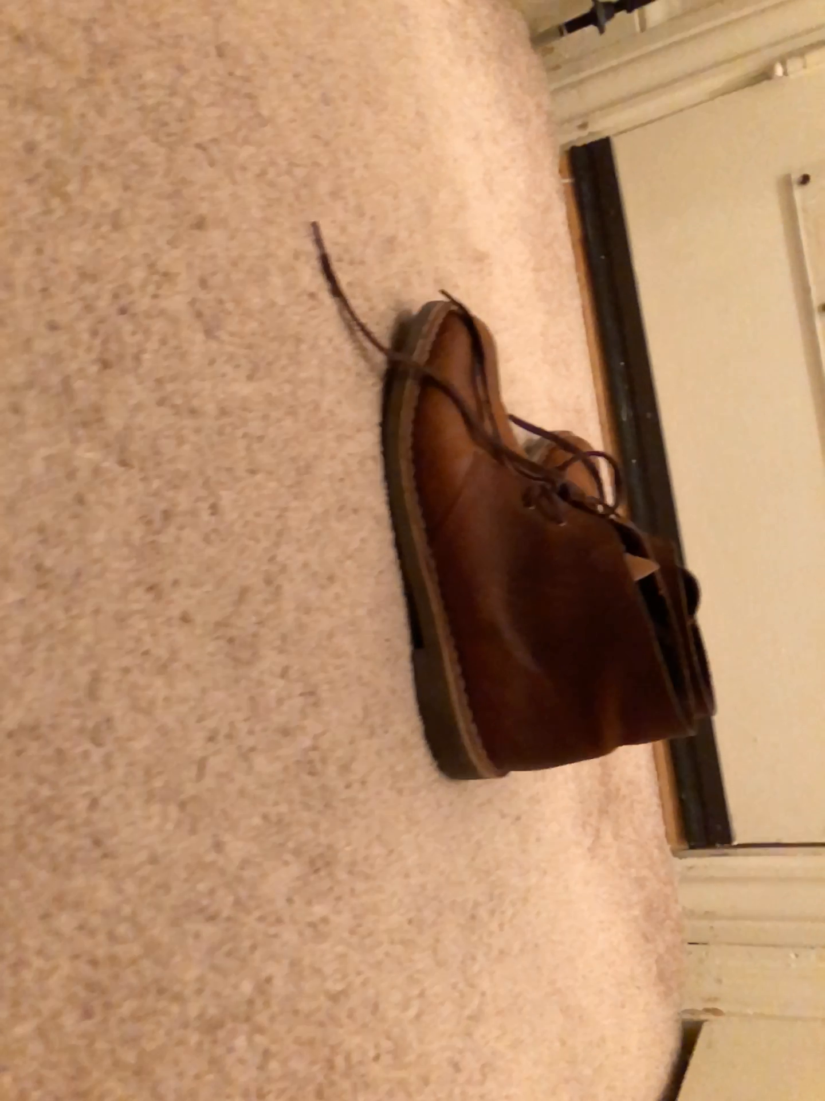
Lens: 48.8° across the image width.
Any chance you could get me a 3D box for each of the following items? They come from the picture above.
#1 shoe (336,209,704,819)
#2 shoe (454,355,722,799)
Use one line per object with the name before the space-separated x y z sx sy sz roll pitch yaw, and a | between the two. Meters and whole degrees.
shoe | 0.065 -0.013 0.531 0.111 0.138 0.303 -4 84 -64
shoe | 0.138 0.013 0.666 0.110 0.138 0.304 55 35 -41
